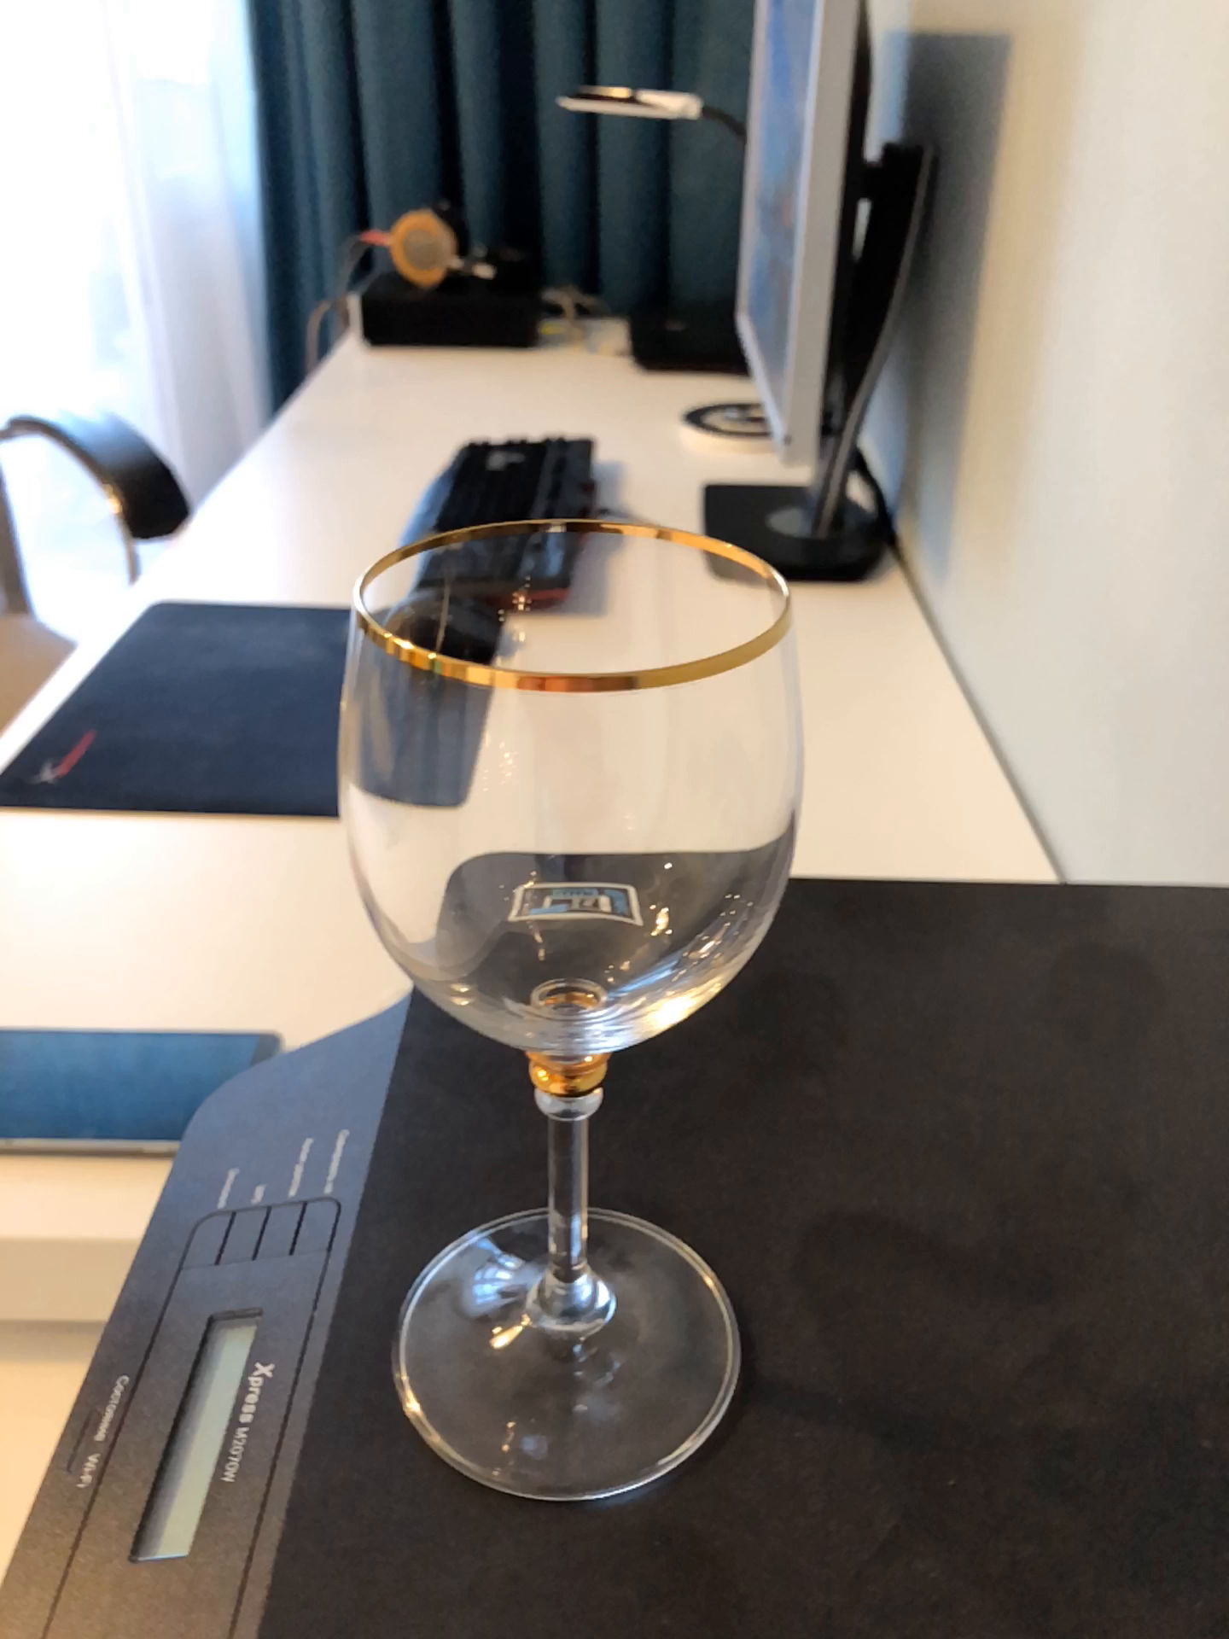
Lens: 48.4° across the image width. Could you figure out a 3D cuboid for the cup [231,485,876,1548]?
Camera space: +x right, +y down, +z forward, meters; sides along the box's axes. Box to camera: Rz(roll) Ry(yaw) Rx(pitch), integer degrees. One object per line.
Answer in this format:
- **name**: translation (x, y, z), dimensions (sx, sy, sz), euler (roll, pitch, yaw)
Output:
- **cup**: translation (-0.009, 0.039, 0.262), dimensions (0.086, 0.177, 0.087), euler (2, 29, -1)
